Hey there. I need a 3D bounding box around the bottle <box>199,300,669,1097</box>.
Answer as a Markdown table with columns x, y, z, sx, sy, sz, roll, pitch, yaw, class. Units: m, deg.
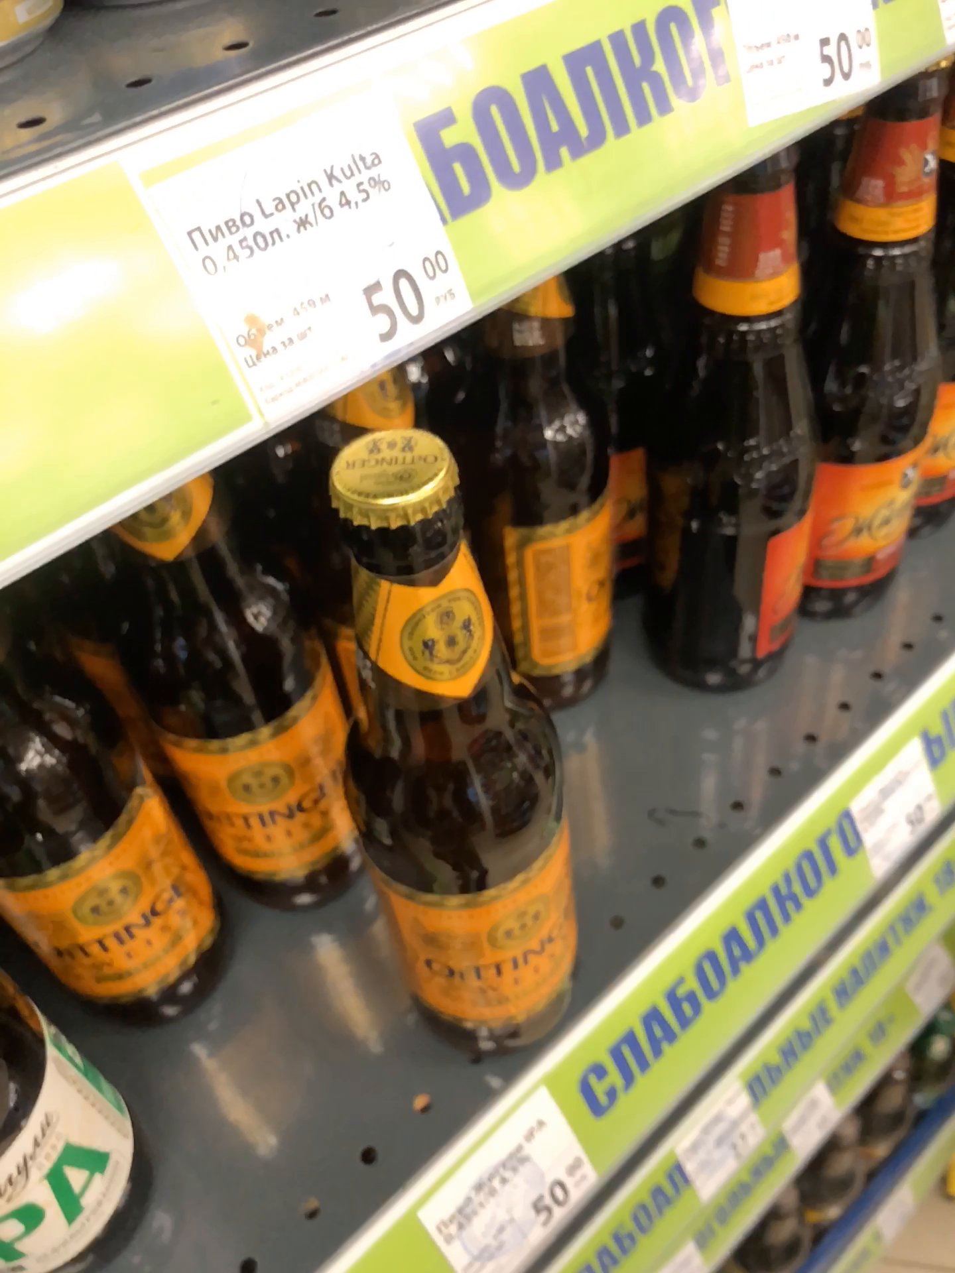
| x | y | z | sx | sy | sz | roll | pitch | yaw | class |
| --- | --- | --- | --- | --- | --- | --- | --- | --- | --- |
| -0.002 | 0.039 | 0.308 | 0.071 | 0.243 | 0.070 | -3 | 48 | 3 | bottle |
